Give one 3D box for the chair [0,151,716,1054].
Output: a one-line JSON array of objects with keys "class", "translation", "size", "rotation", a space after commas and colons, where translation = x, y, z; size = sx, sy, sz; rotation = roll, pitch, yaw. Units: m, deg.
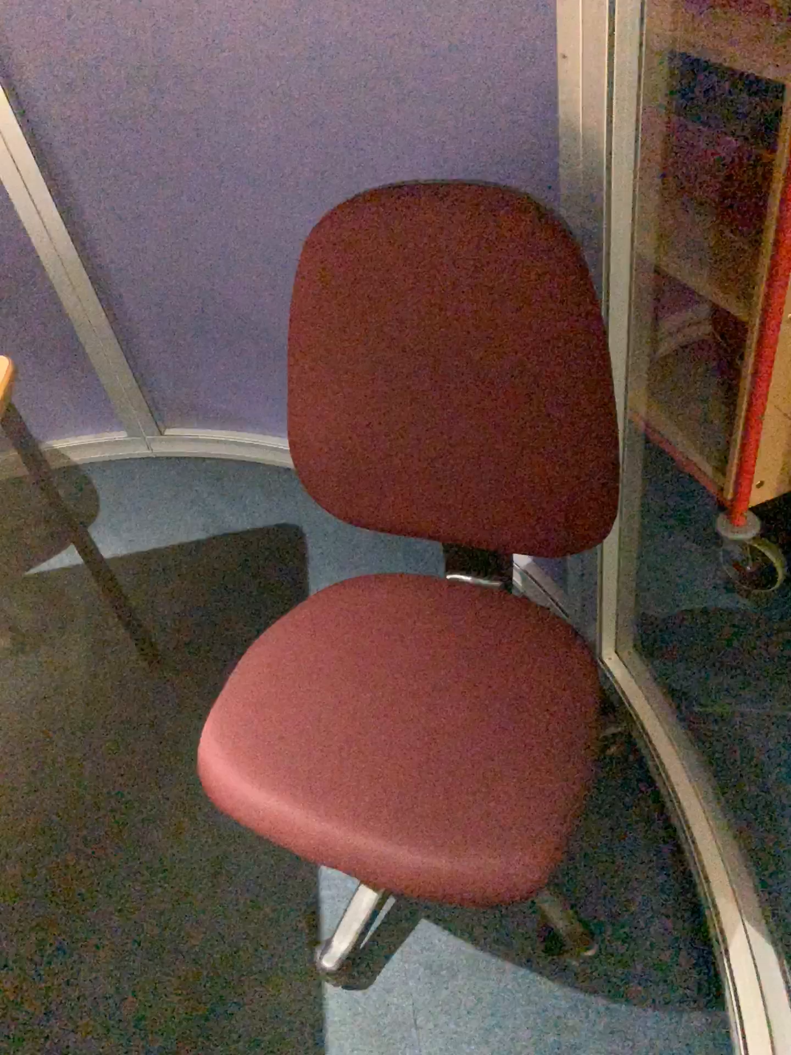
[{"class": "chair", "translation": [0.046, 0.062, 1.092], "size": [0.581, 0.772, 0.857], "rotation": [8, 46, 21]}]
